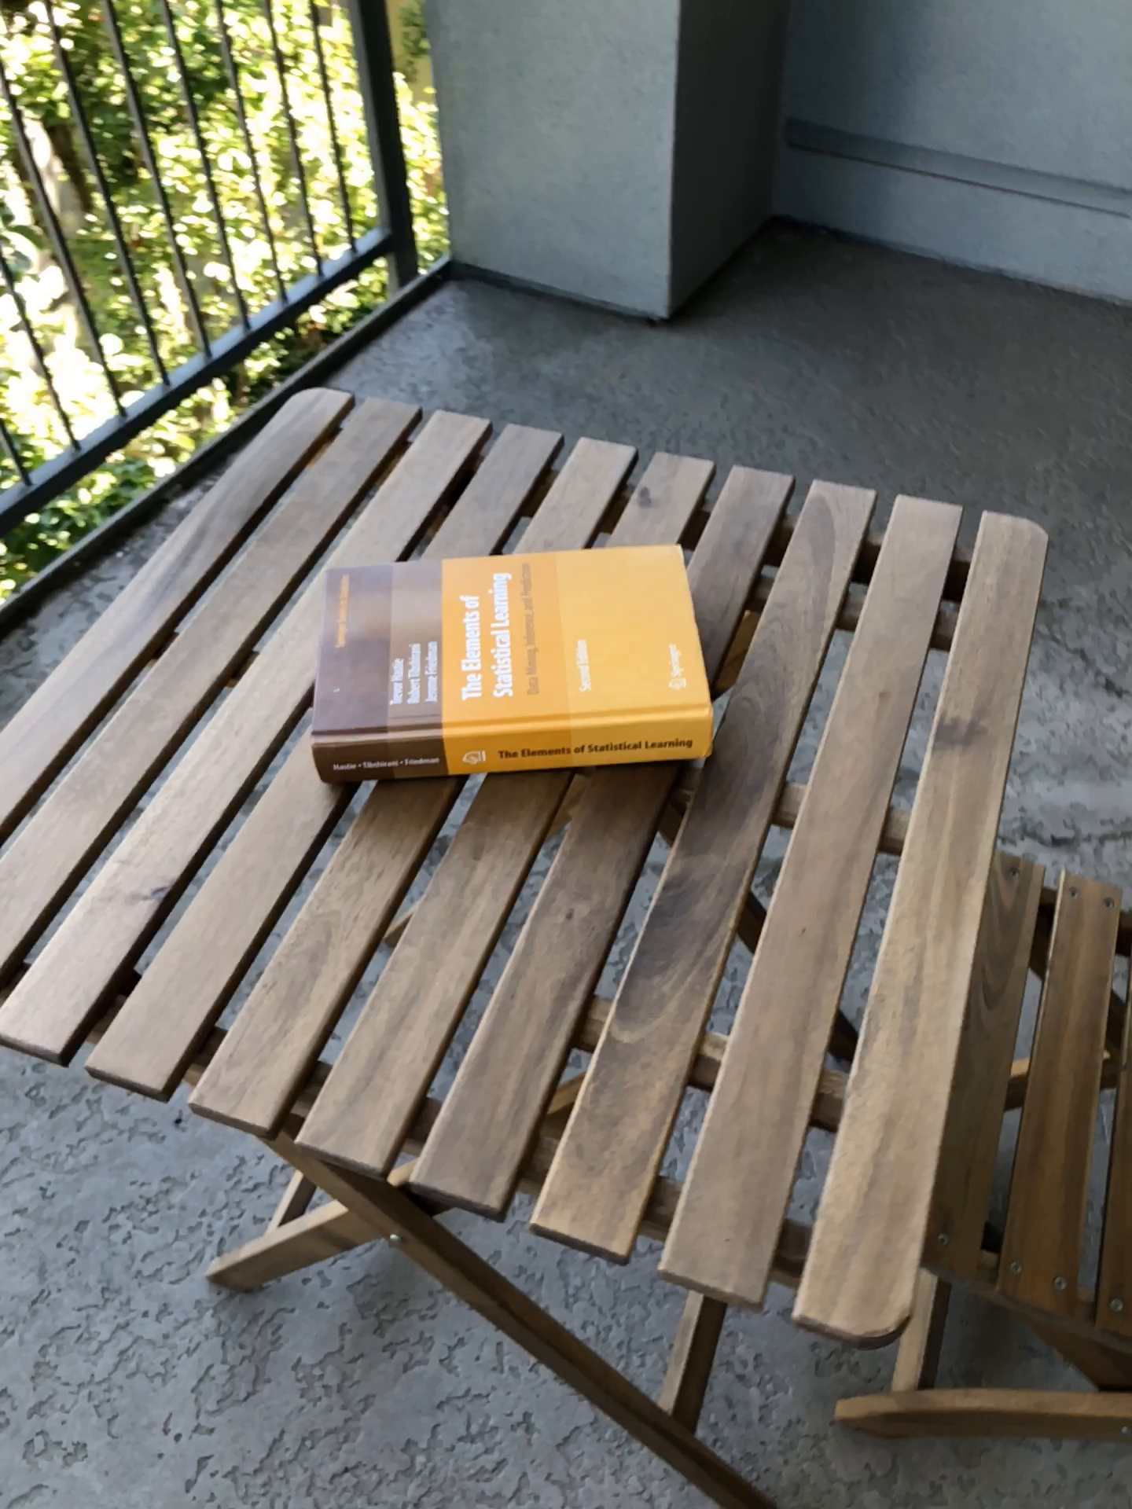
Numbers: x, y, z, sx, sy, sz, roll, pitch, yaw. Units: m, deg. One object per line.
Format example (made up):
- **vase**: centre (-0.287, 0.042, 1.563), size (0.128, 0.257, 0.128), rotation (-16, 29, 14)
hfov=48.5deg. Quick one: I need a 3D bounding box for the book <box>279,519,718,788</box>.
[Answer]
- **book**: centre (-0.042, -0.068, 0.788), size (0.250, 0.040, 0.181), rotation (-3, 49, -1)
